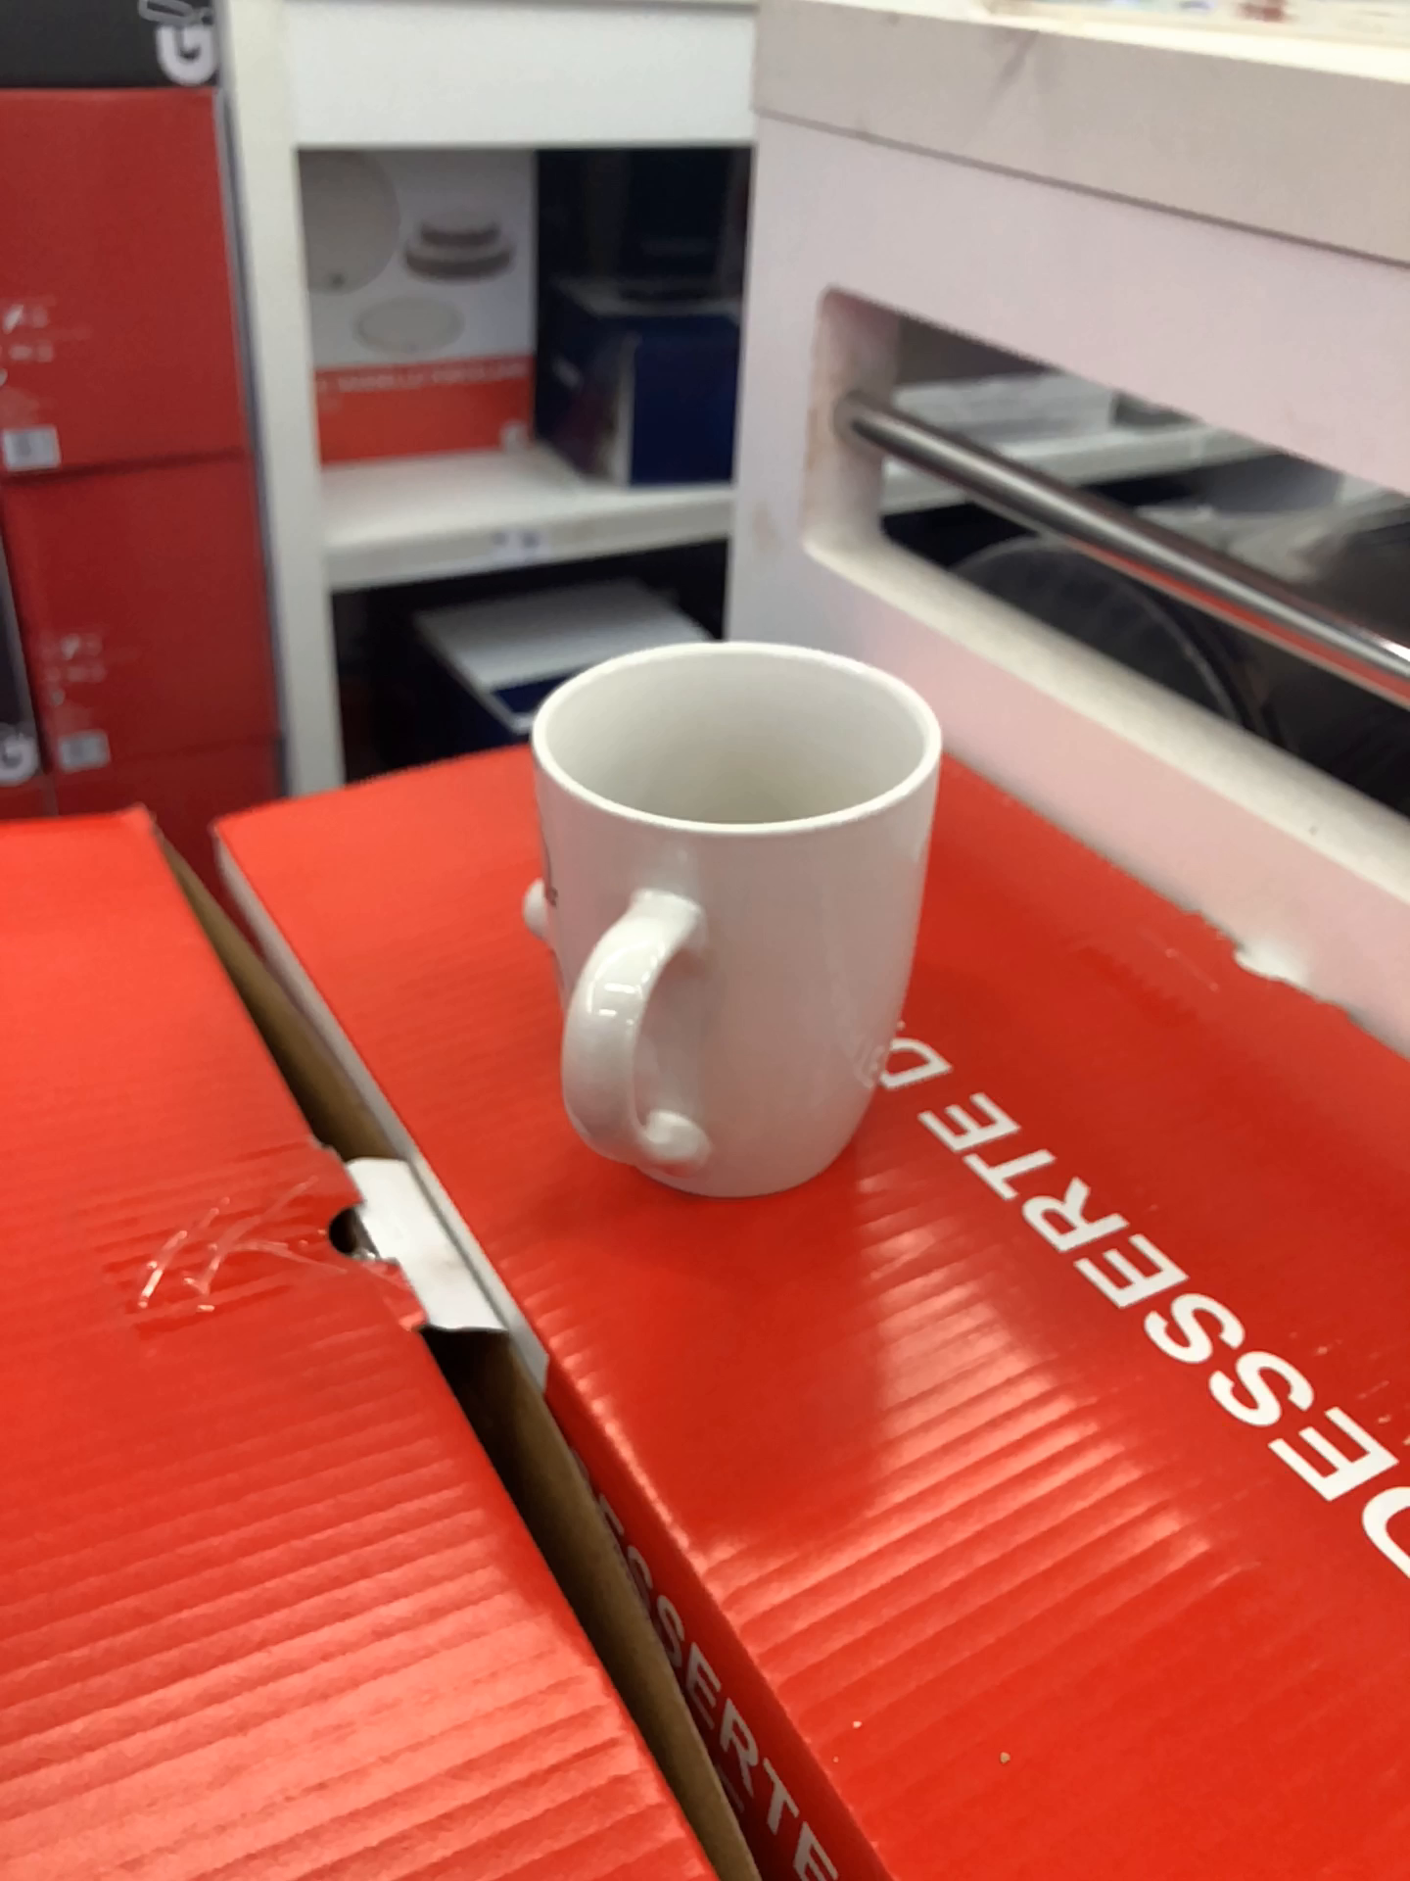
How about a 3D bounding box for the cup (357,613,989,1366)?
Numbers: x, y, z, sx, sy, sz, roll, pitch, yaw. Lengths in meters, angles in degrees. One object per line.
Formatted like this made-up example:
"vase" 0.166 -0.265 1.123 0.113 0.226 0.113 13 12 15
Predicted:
"cup" -0.001 0.002 0.337 0.092 0.092 0.124 12 33 12
